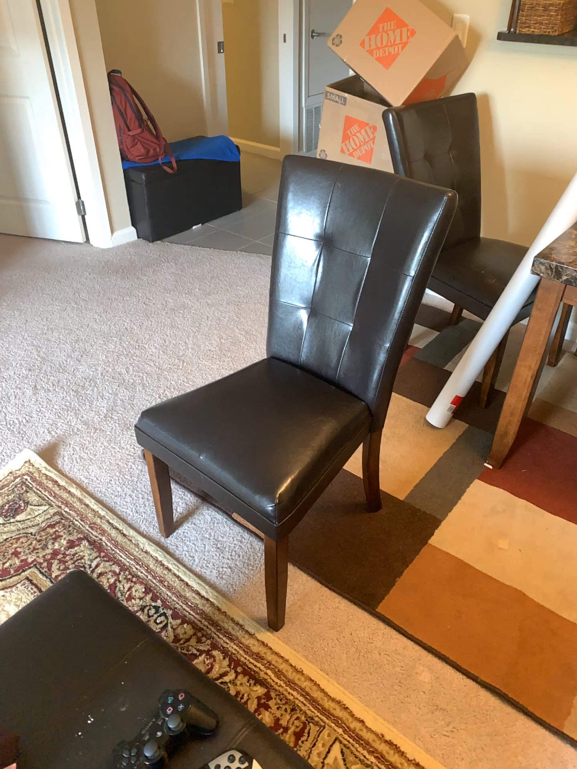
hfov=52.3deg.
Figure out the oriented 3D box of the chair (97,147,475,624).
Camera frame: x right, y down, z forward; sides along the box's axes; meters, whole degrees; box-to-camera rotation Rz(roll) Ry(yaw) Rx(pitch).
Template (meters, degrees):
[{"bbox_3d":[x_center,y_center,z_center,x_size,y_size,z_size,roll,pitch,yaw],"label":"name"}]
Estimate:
[{"bbox_3d":[0.017,-0.023,1.505,0.492,0.915,0.652,27,44,32],"label":"chair"}]
